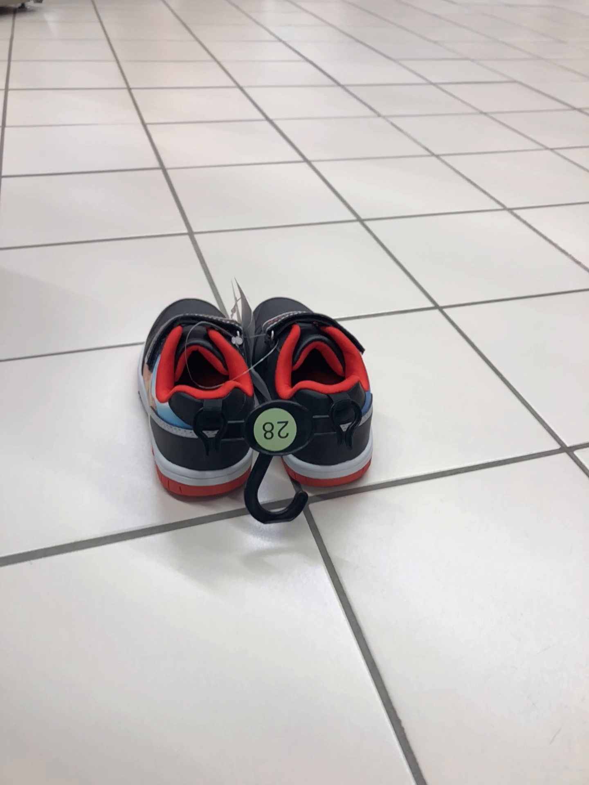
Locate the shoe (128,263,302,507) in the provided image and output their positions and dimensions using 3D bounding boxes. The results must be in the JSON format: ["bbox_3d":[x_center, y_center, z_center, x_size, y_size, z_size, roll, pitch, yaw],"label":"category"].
[{"bbox_3d":[-0.066,-0.019,0.467,0.094,0.053,0.207,-5,39,-12],"label":"shoe"}]

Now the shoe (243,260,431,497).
[{"bbox_3d":[0.018,-0.024,0.478,0.080,0.053,0.210,-5,39,-12],"label":"shoe"}]
